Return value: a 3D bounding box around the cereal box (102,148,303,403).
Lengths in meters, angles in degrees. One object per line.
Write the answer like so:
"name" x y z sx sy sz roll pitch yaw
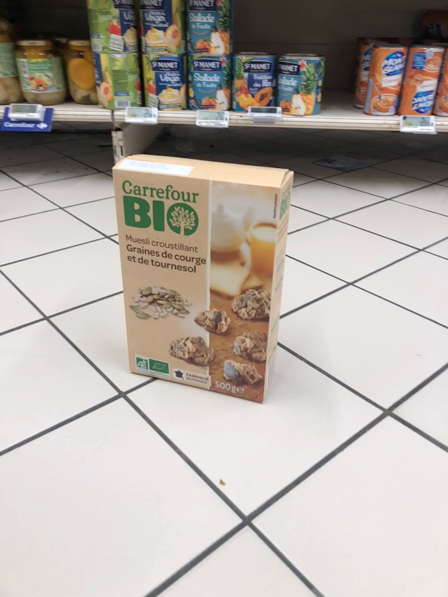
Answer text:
"cereal box" -0.020 -0.024 0.504 0.170 0.229 0.070 10 29 16
